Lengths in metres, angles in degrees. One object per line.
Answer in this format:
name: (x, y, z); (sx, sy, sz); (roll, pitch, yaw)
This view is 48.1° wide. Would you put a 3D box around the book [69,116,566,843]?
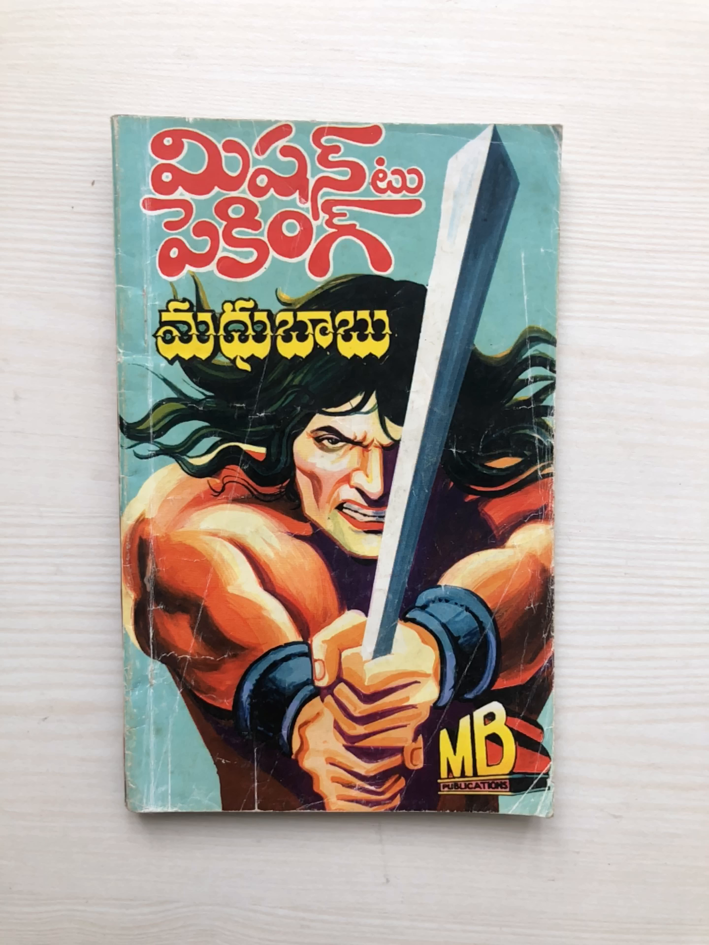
book: (-0.007, 0.003, 0.180); (0.100, 0.030, 0.150); (0, 94, -1)
